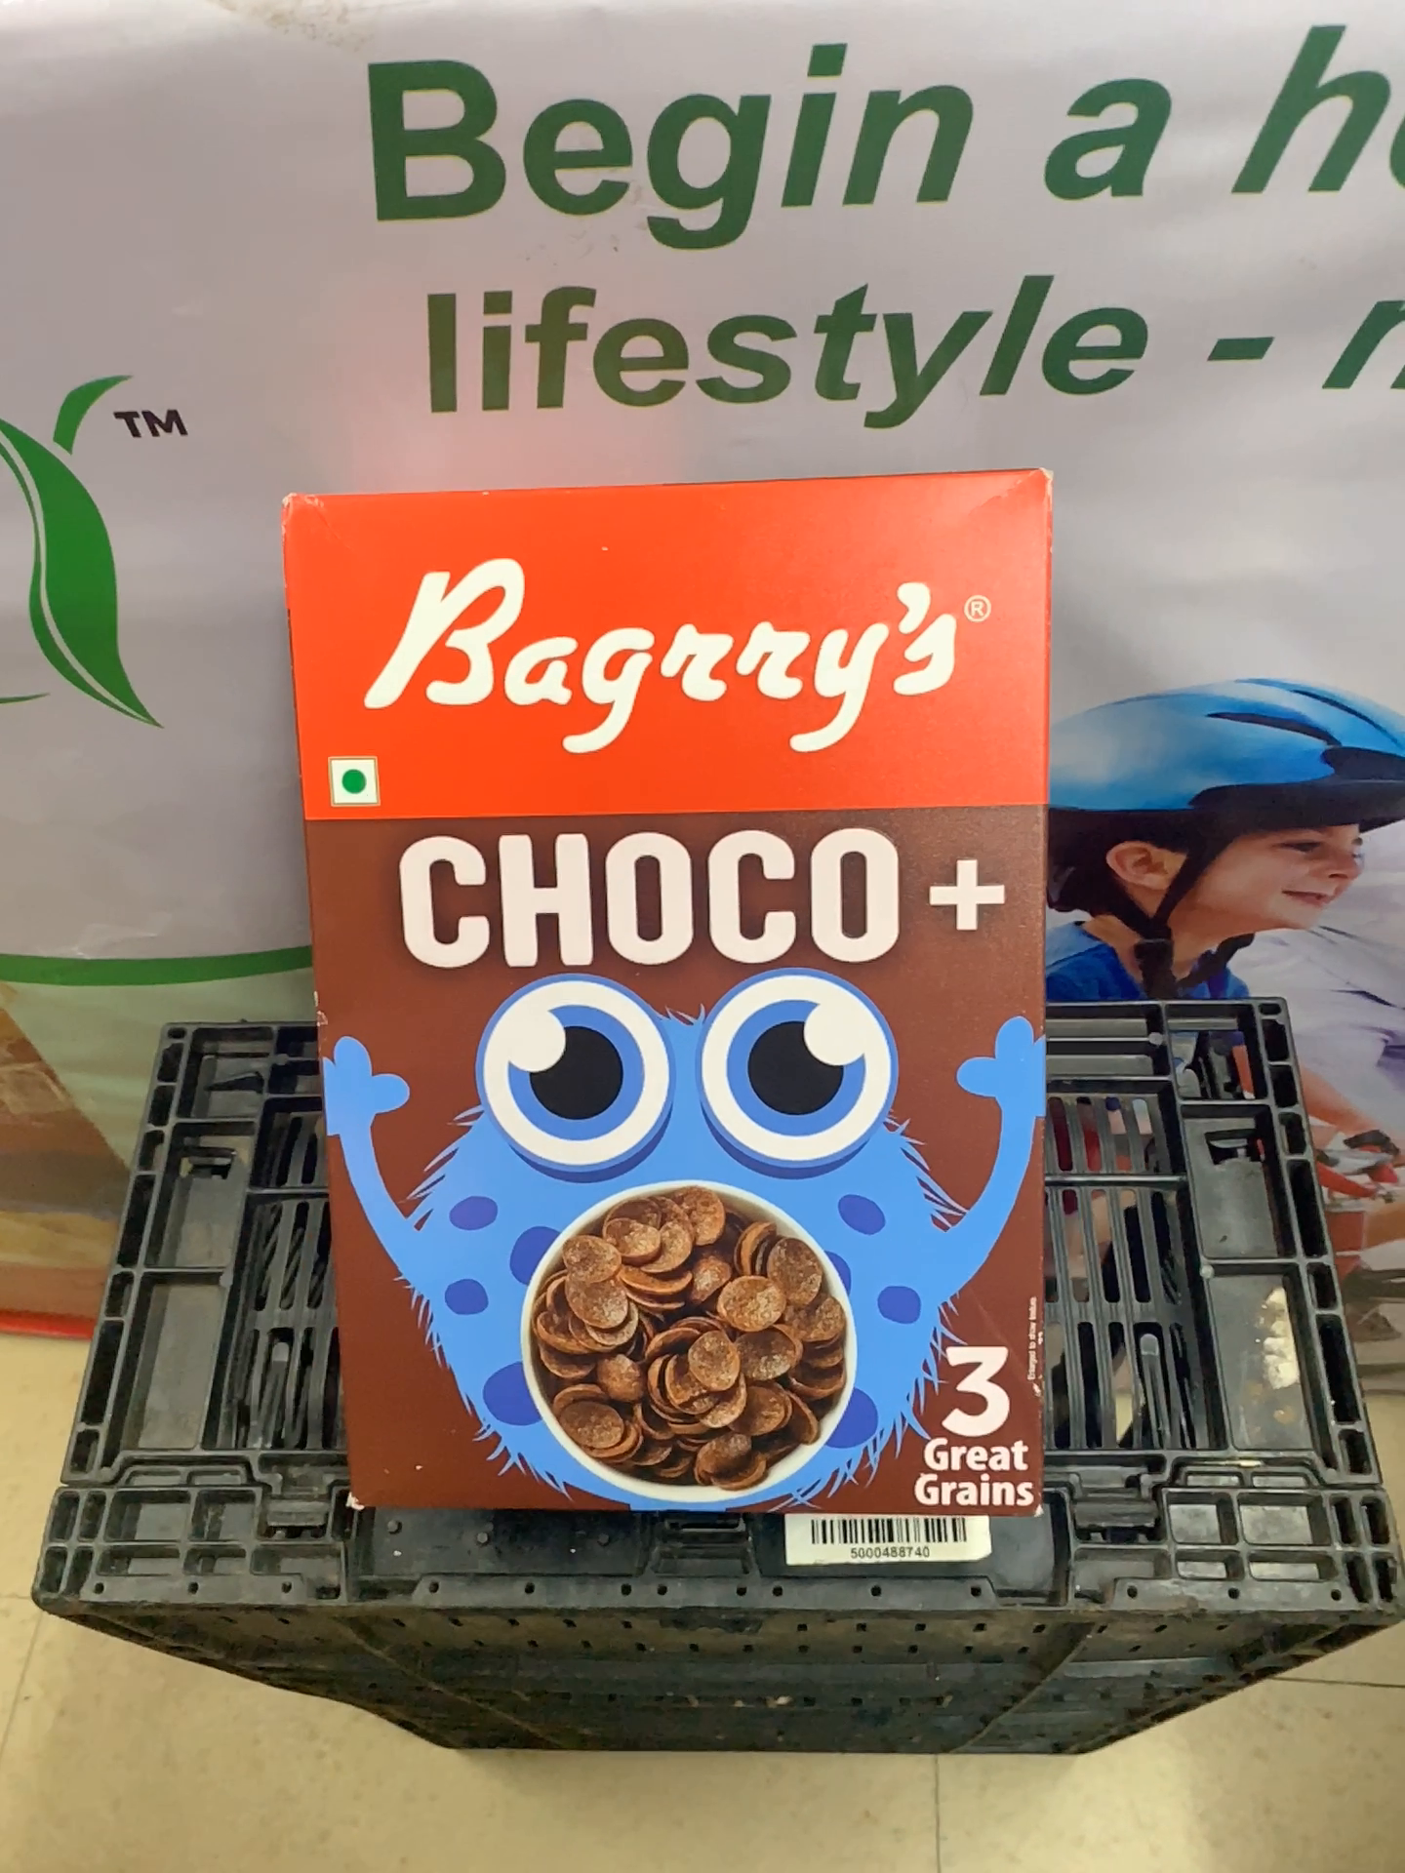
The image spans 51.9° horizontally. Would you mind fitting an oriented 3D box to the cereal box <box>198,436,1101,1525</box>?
[{"bbox_3d":[-0.008,0.011,0.359,0.190,0.080,0.240,-1,98,4],"label":"cereal box"}]
